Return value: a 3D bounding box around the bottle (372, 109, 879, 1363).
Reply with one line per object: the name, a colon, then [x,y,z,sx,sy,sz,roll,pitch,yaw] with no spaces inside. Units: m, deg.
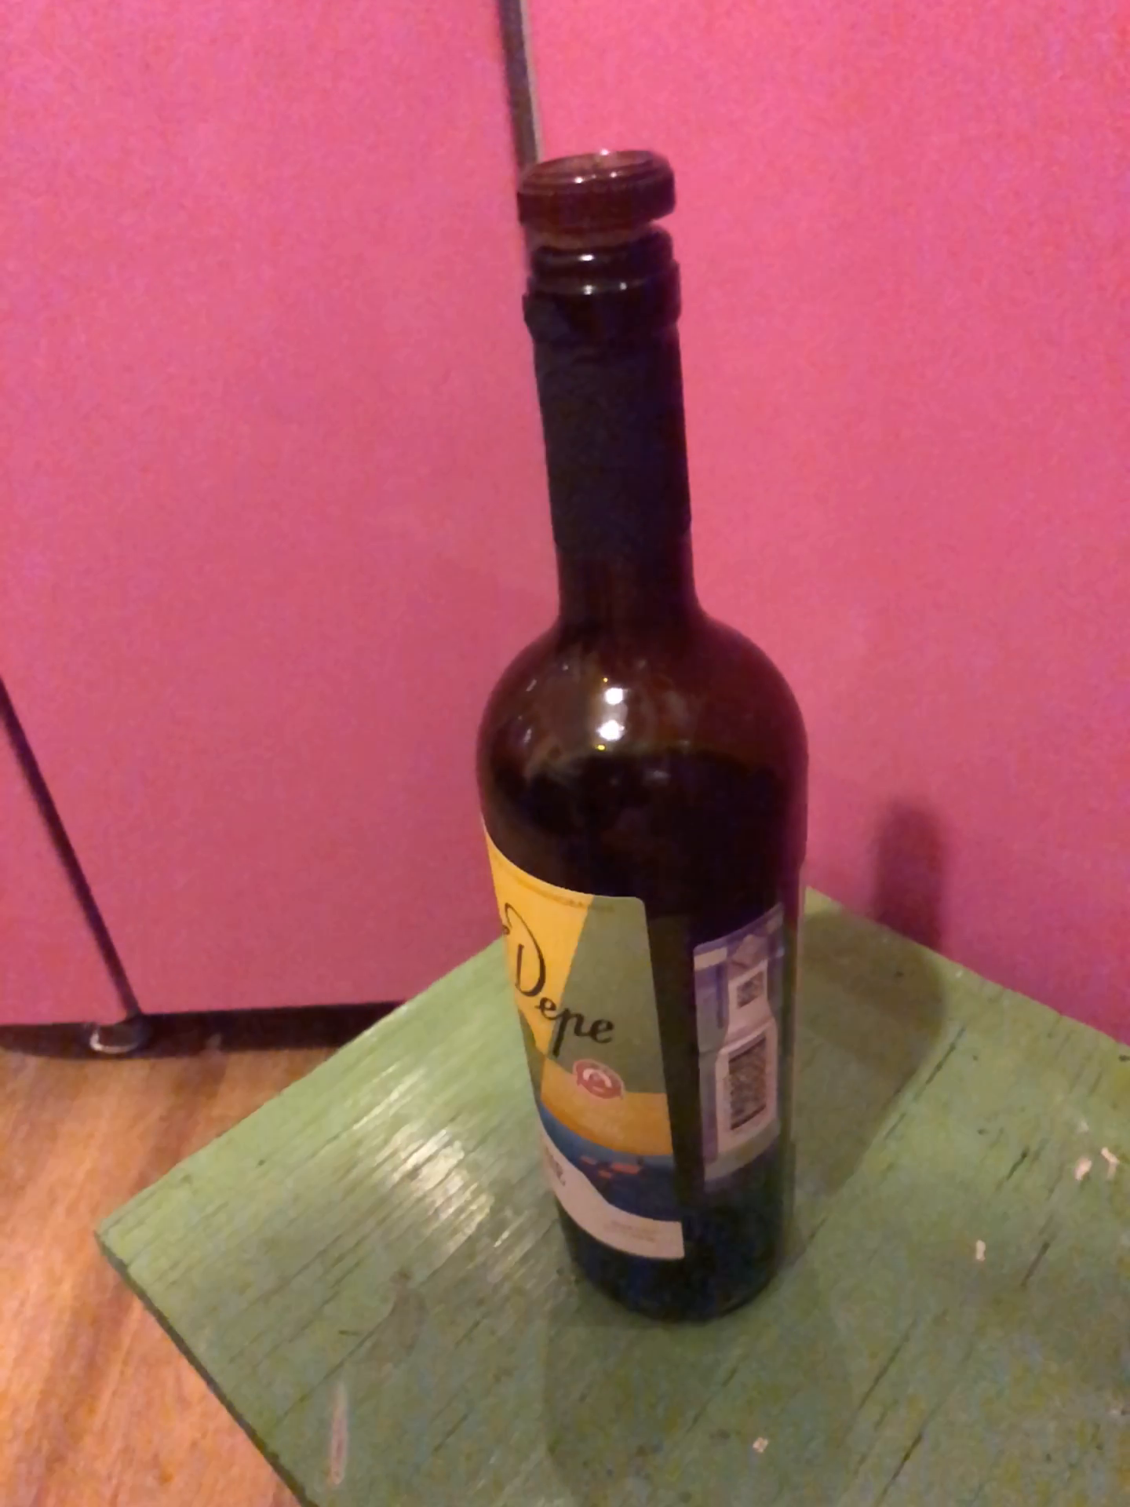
bottle: [0.021,0.021,0.302,0.071,0.301,0.072,-5,34,3]
